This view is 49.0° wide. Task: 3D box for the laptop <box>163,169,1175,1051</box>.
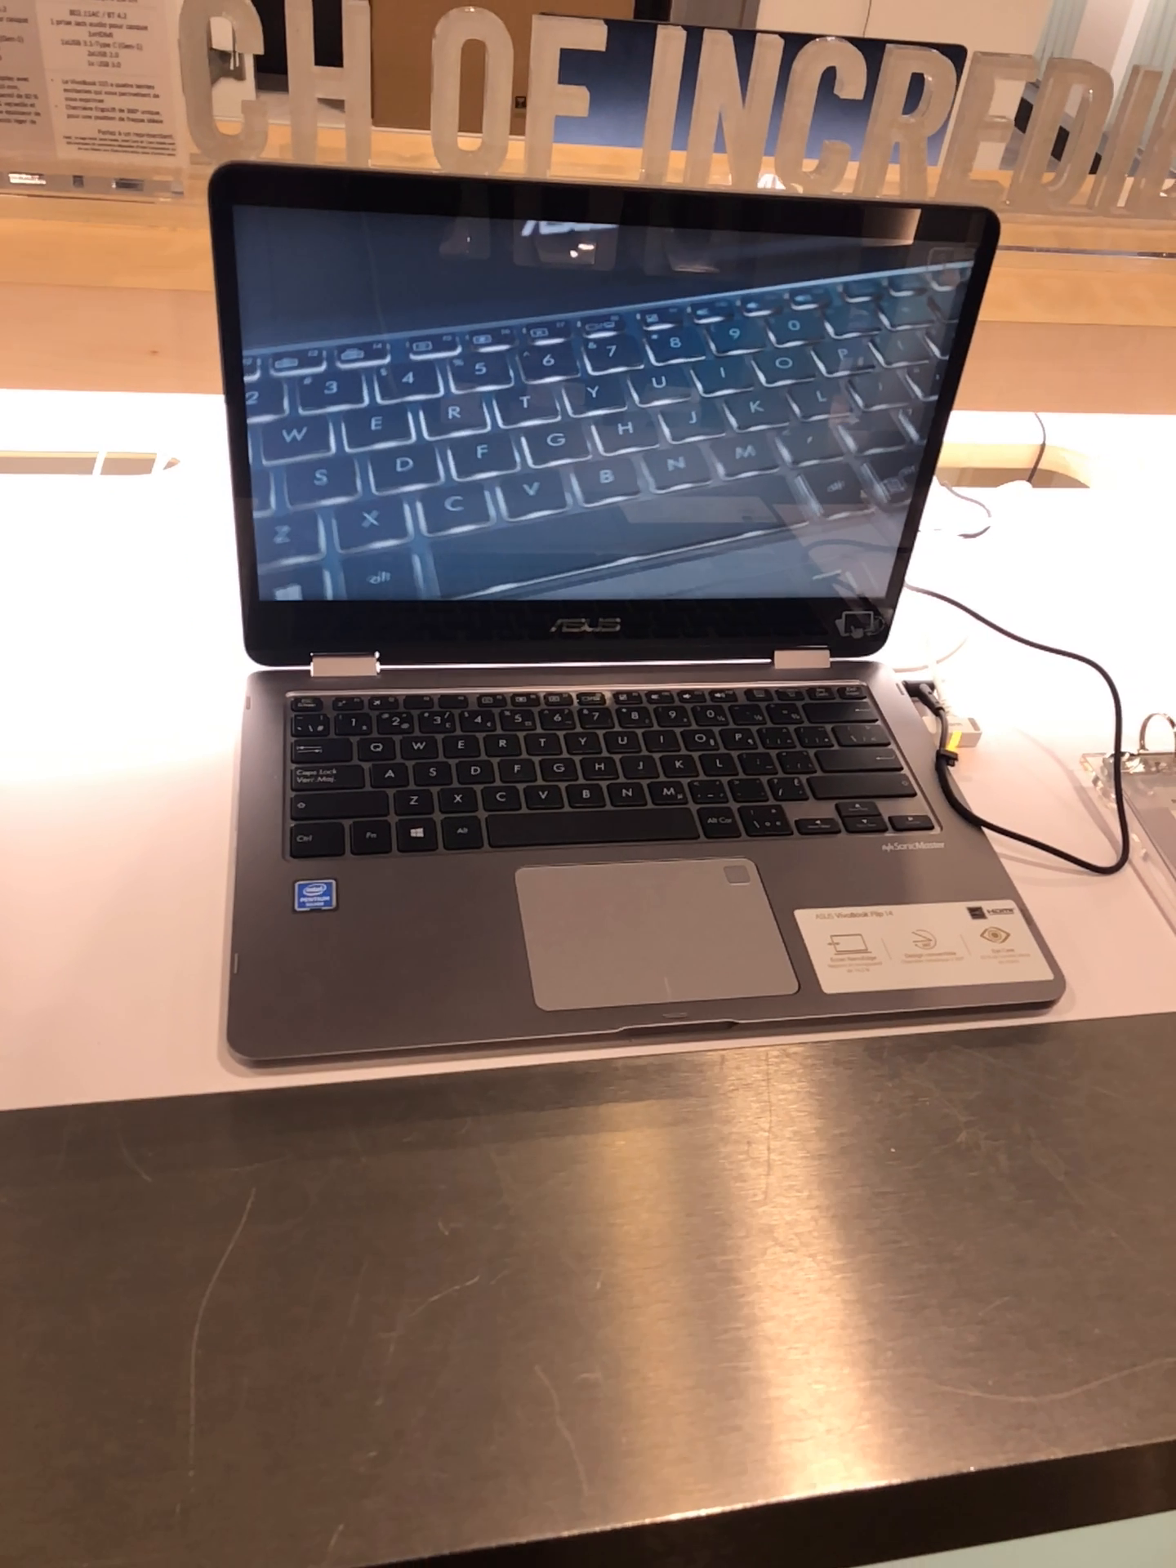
[{"bbox_3d":[0.026,-0.065,0.462,0.303,0.210,0.211,-2,43,-11],"label":"laptop"}]
